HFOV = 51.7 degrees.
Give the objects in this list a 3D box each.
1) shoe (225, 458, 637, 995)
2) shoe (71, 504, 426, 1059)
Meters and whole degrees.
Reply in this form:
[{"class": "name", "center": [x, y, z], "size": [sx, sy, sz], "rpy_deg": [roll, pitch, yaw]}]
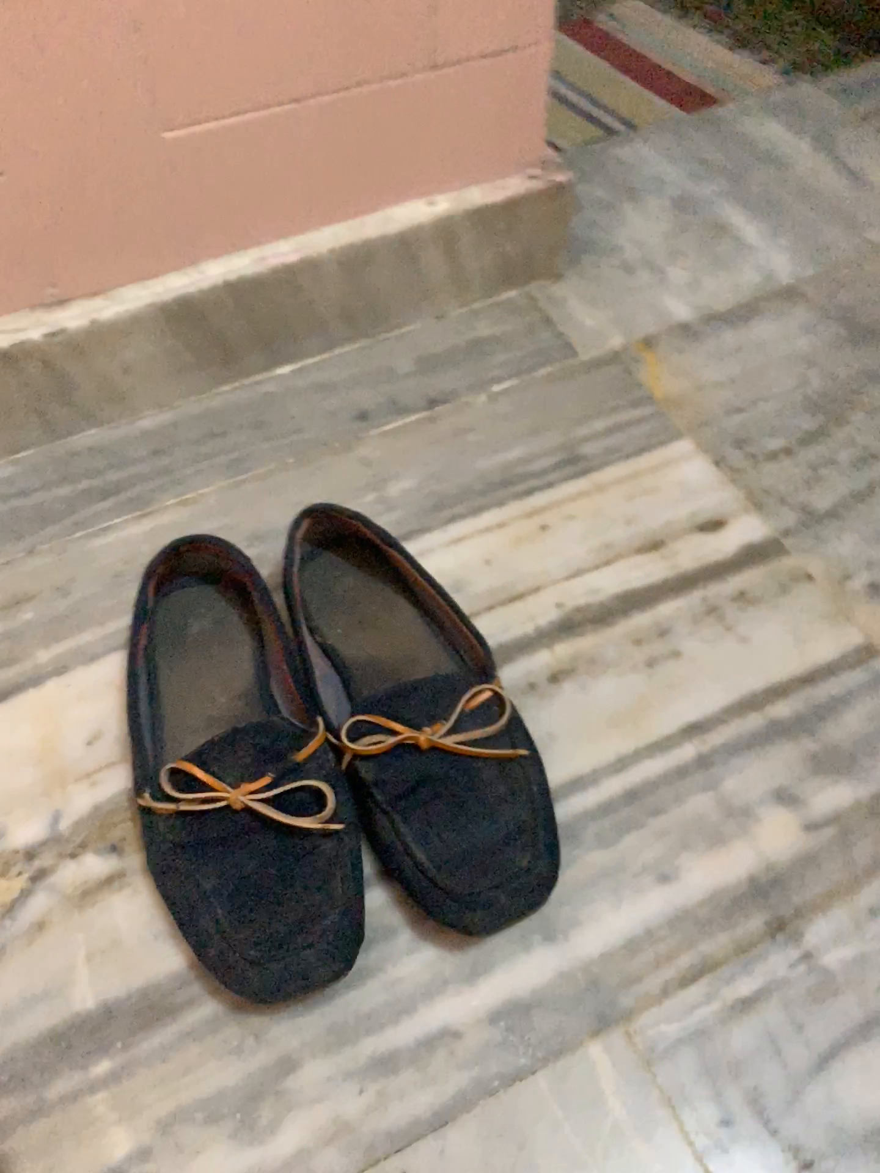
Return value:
[{"class": "shoe", "center": [-0.020, 0.065, 0.547], "size": [0.120, 0.070, 0.300], "rpy_deg": [-21, 57, -14]}, {"class": "shoe", "center": [-0.115, 0.092, 0.514], "size": [0.120, 0.070, 0.280], "rpy_deg": [-18, 56, -12]}]
